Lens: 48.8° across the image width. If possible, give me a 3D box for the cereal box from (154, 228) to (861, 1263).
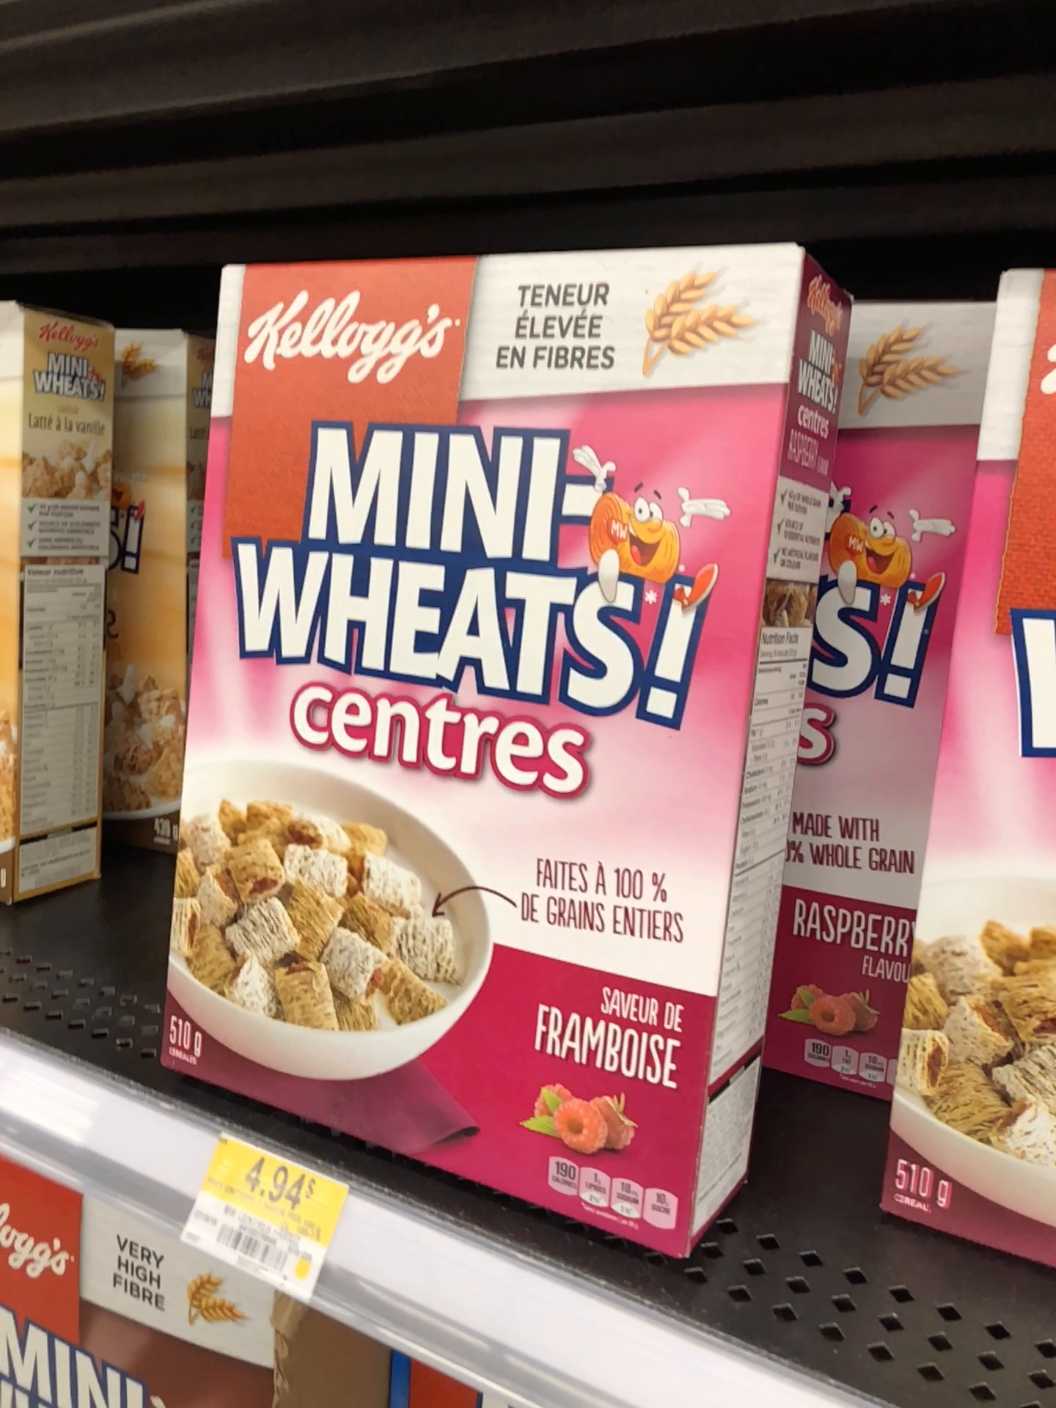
[{"bbox_3d":[-0.015,0.001,0.363,0.190,0.259,0.070,8,7,27],"label":"cereal box"}]
